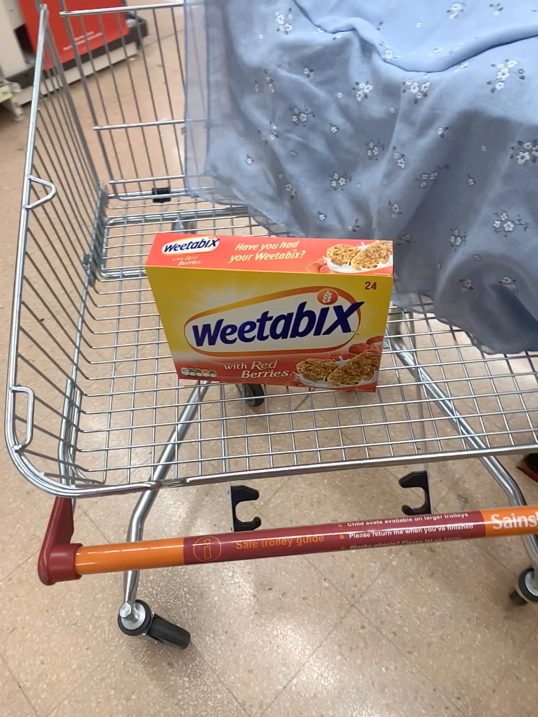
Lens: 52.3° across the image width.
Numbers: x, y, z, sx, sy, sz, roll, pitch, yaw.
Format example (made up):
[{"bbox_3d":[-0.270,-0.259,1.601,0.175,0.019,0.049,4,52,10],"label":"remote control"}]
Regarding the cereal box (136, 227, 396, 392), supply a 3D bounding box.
[{"bbox_3d":[0.000,-0.050,0.635,0.260,0.188,0.060,4,51,5],"label":"cereal box"}]
